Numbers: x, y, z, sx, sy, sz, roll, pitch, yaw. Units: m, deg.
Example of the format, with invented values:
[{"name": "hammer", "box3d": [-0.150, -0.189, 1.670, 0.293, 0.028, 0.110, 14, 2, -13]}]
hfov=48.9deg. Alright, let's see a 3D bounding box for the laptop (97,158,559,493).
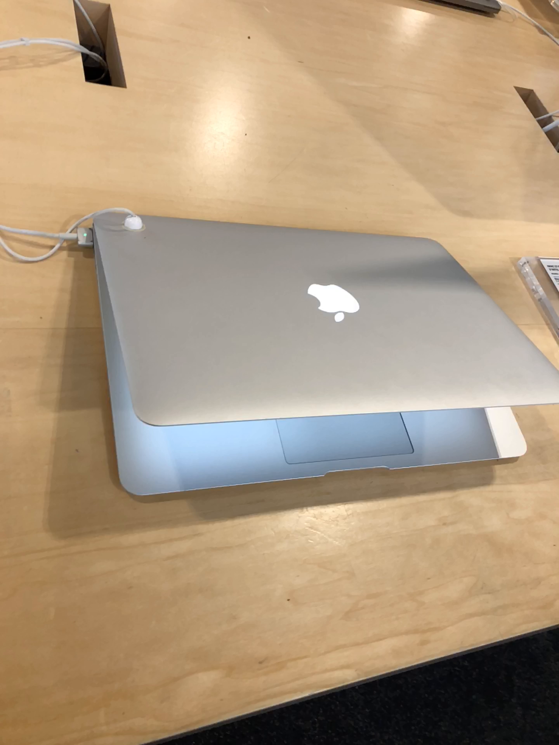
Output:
[{"name": "laptop", "box3d": [0.042, -0.040, 0.452, 0.315, 0.067, 0.215, -1, 58, -23]}]
